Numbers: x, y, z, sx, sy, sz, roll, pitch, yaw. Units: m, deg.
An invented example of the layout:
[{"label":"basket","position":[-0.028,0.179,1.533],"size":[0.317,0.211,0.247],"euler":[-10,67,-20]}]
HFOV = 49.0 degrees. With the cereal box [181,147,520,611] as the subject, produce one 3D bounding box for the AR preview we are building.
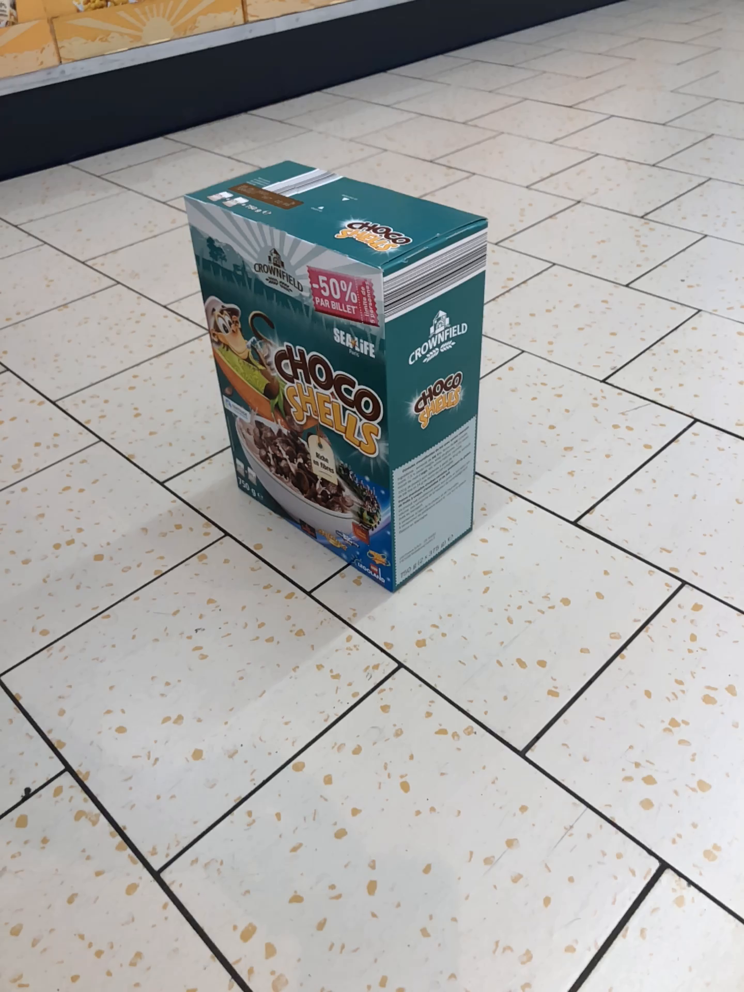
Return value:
[{"label":"cereal box","position":[-0.014,-0.088,0.607],"size":[0.100,0.268,0.210],"euler":[-33,47,-32]}]
